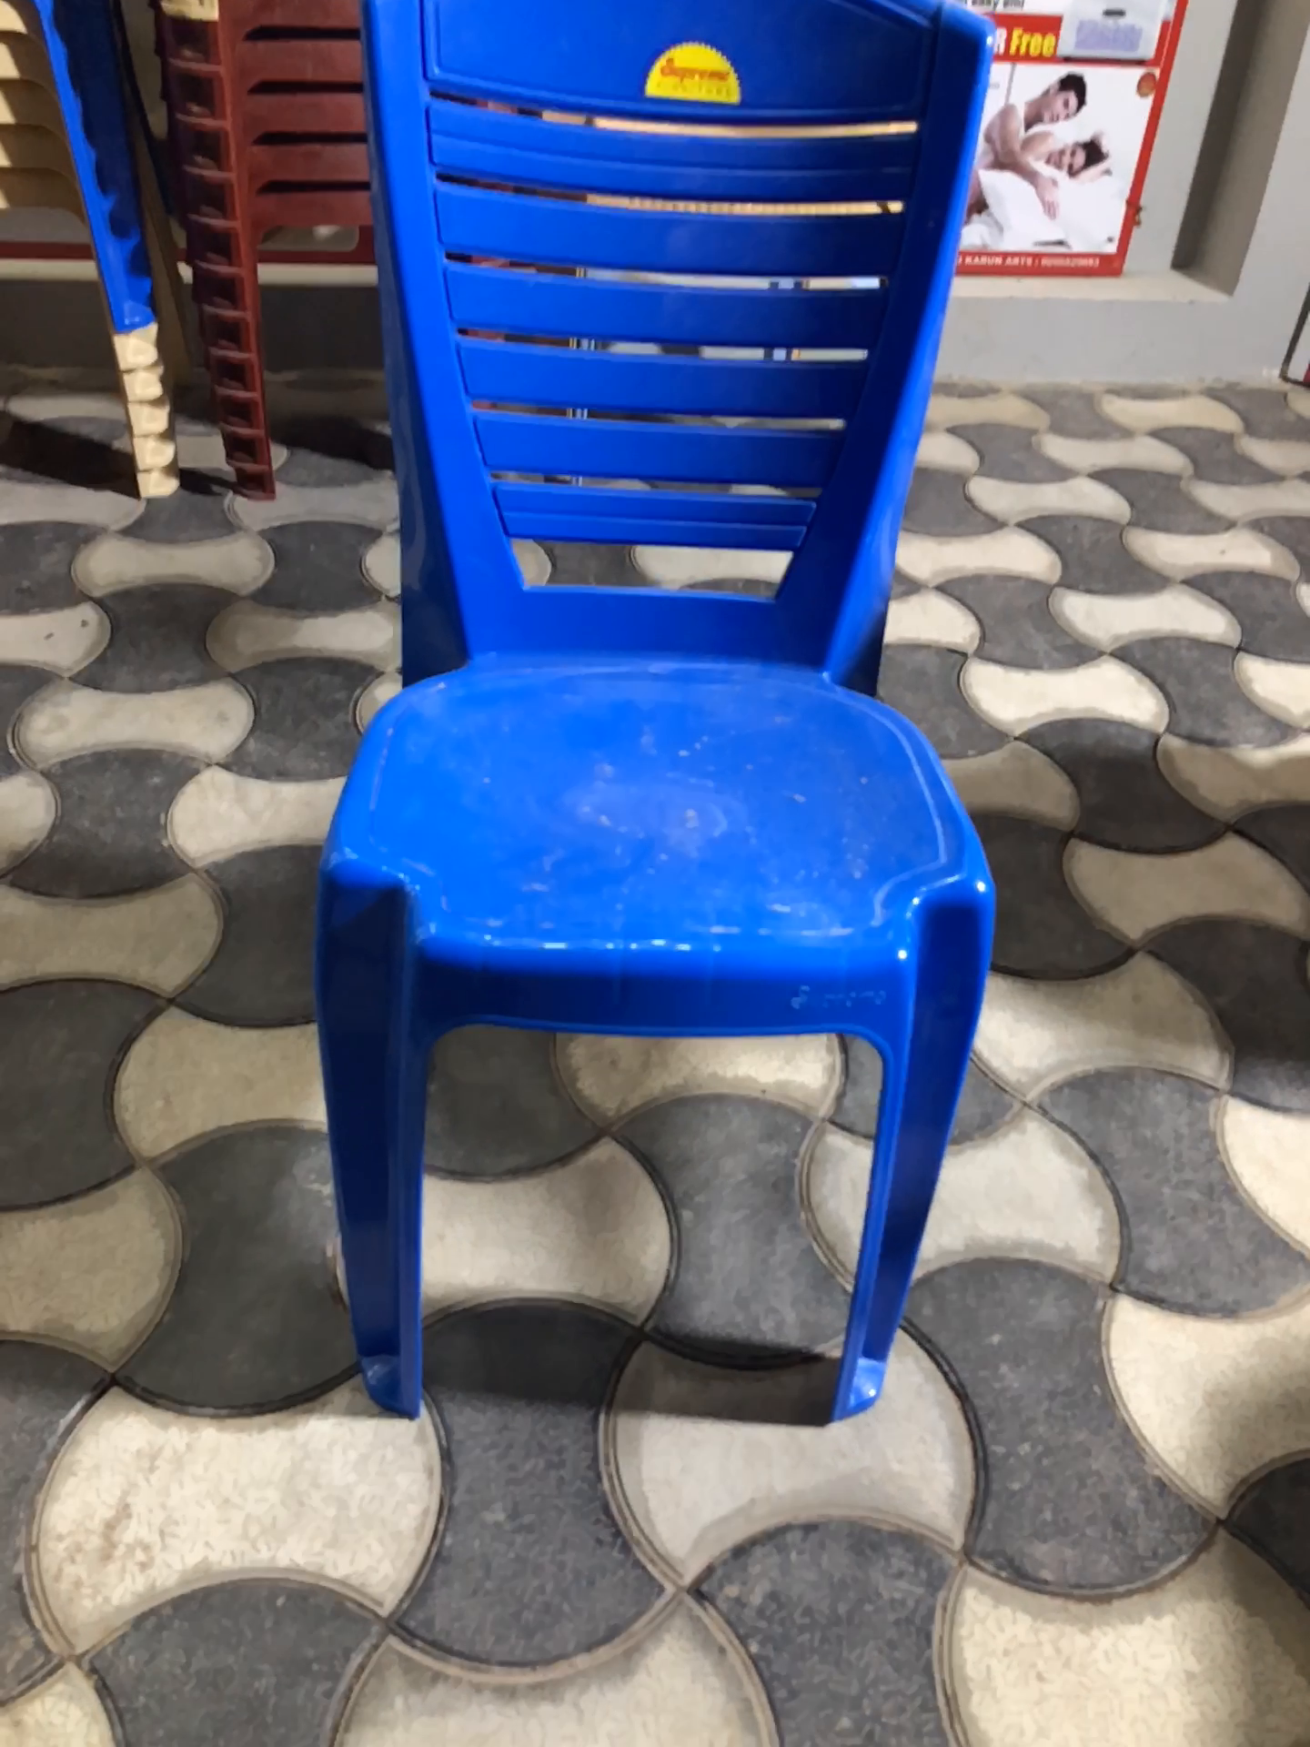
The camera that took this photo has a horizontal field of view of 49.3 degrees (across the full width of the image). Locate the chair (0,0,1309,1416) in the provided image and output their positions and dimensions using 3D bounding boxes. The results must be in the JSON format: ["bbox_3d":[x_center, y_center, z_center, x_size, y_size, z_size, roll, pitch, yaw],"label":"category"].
[{"bbox_3d":[-0.004,-0.135,0.825,0.470,0.724,0.514,2,36,-2],"label":"chair"}]
